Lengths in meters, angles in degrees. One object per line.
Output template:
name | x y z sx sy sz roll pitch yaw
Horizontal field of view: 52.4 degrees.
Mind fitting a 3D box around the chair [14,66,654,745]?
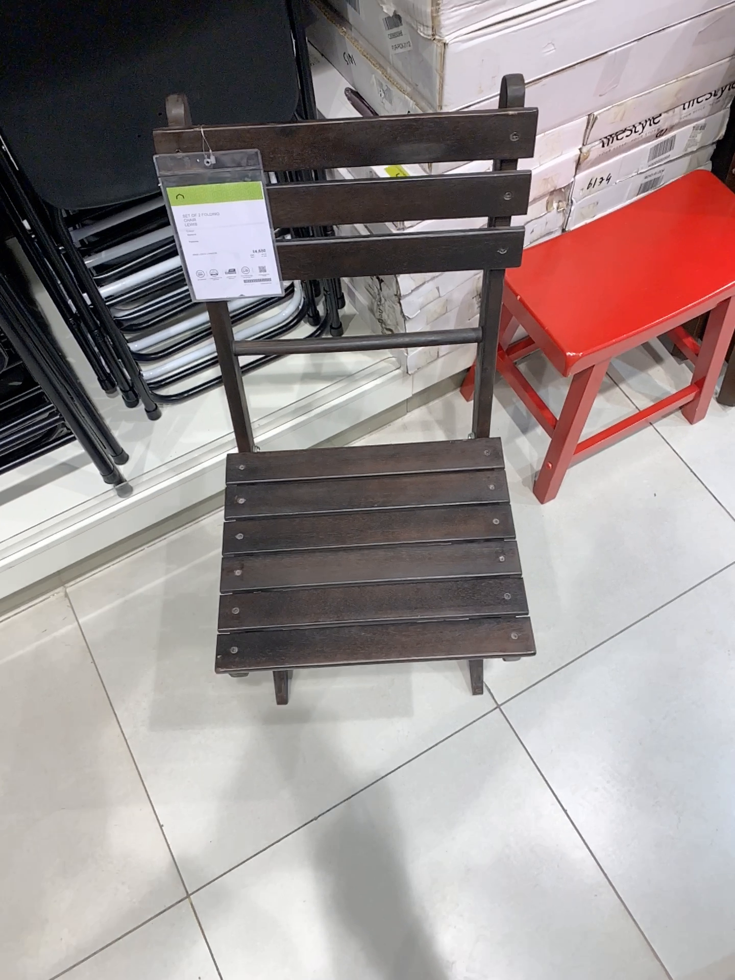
chair | -0.021 0.004 0.955 0.420 0.799 0.480 -3 63 0
